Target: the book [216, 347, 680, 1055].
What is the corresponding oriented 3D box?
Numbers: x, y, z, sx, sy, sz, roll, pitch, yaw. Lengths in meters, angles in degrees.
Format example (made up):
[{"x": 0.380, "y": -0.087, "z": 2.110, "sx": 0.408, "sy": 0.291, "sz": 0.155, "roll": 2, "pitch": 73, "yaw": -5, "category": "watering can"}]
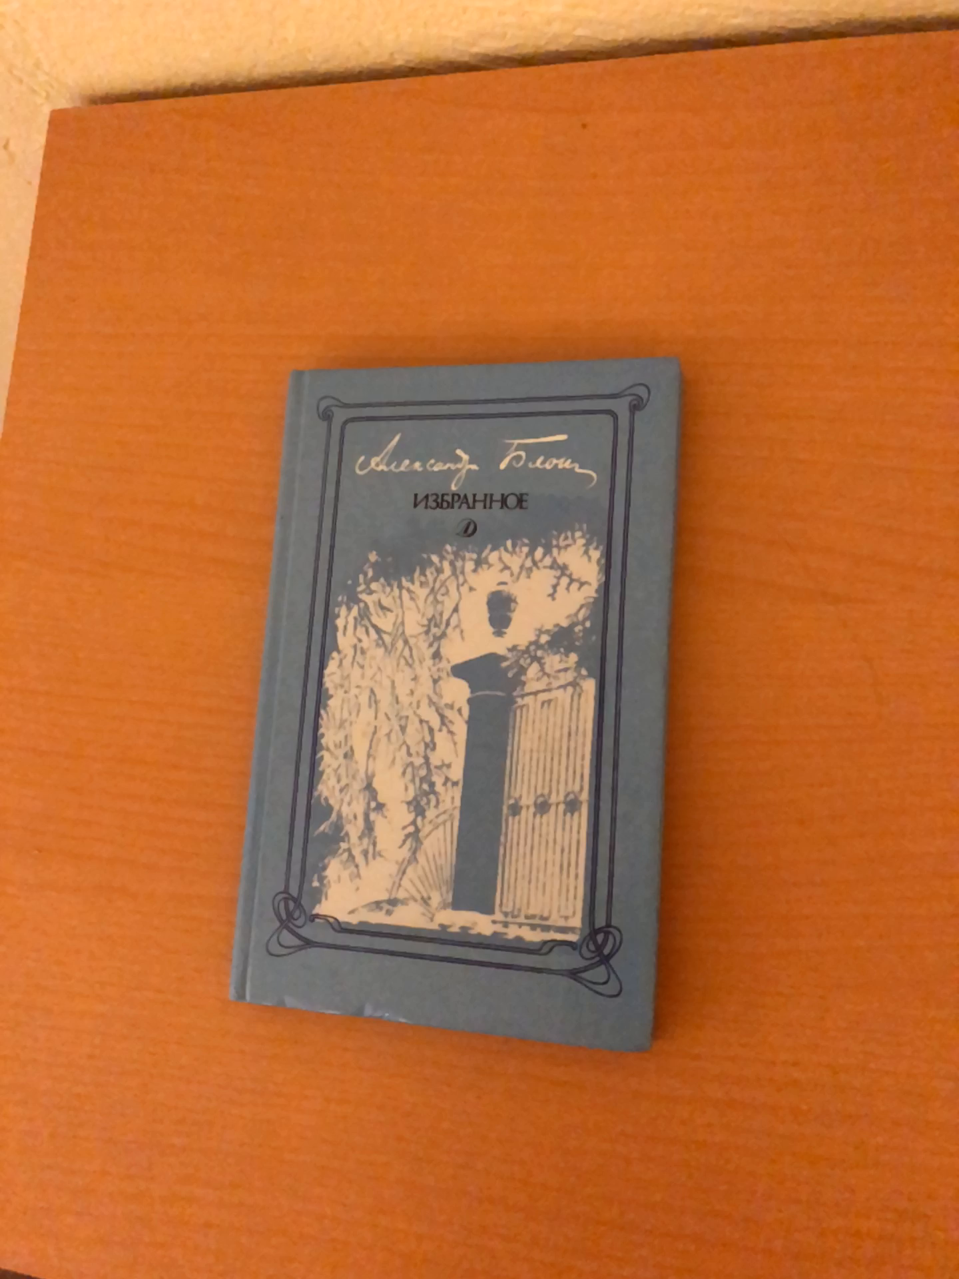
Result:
[{"x": -0.009, "y": 0.013, "z": 0.339, "sx": 0.135, "sy": 0.020, "sz": 0.210, "roll": 2, "pitch": 82, "yaw": 15, "category": "book"}]
